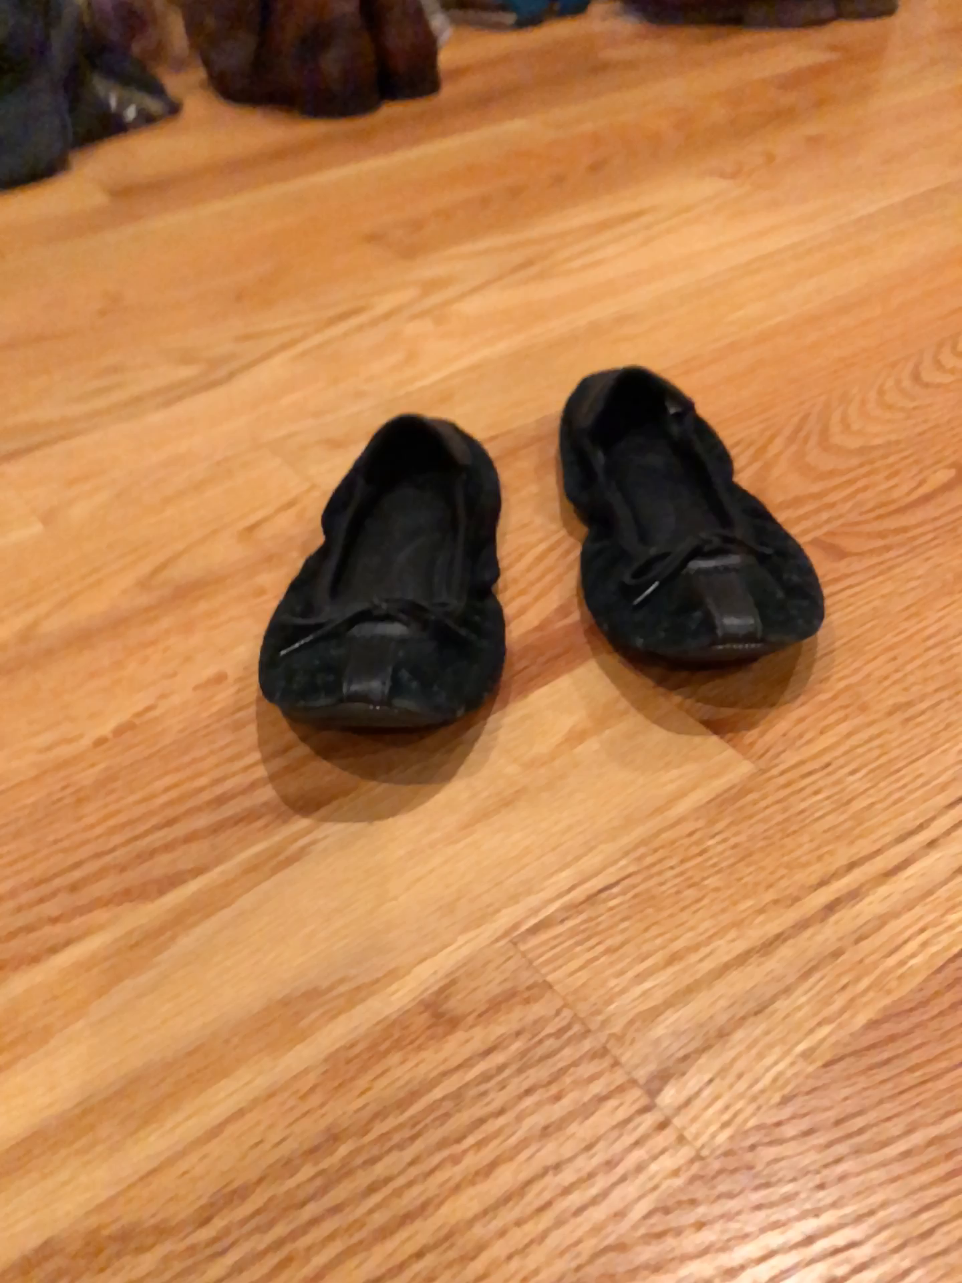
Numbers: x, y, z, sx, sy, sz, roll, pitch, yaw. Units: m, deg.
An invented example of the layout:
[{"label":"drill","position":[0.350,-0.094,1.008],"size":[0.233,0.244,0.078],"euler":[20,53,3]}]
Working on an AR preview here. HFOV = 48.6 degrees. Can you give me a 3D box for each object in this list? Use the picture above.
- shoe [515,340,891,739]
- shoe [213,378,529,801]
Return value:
[{"label":"shoe","position":[0.079,-0.058,0.458],"size":[0.093,0.046,0.221],"euler":[-8,39,-3]},{"label":"shoe","position":[-0.032,-0.035,0.444],"size":[0.100,0.050,0.221],"euler":[-3,39,4]}]
